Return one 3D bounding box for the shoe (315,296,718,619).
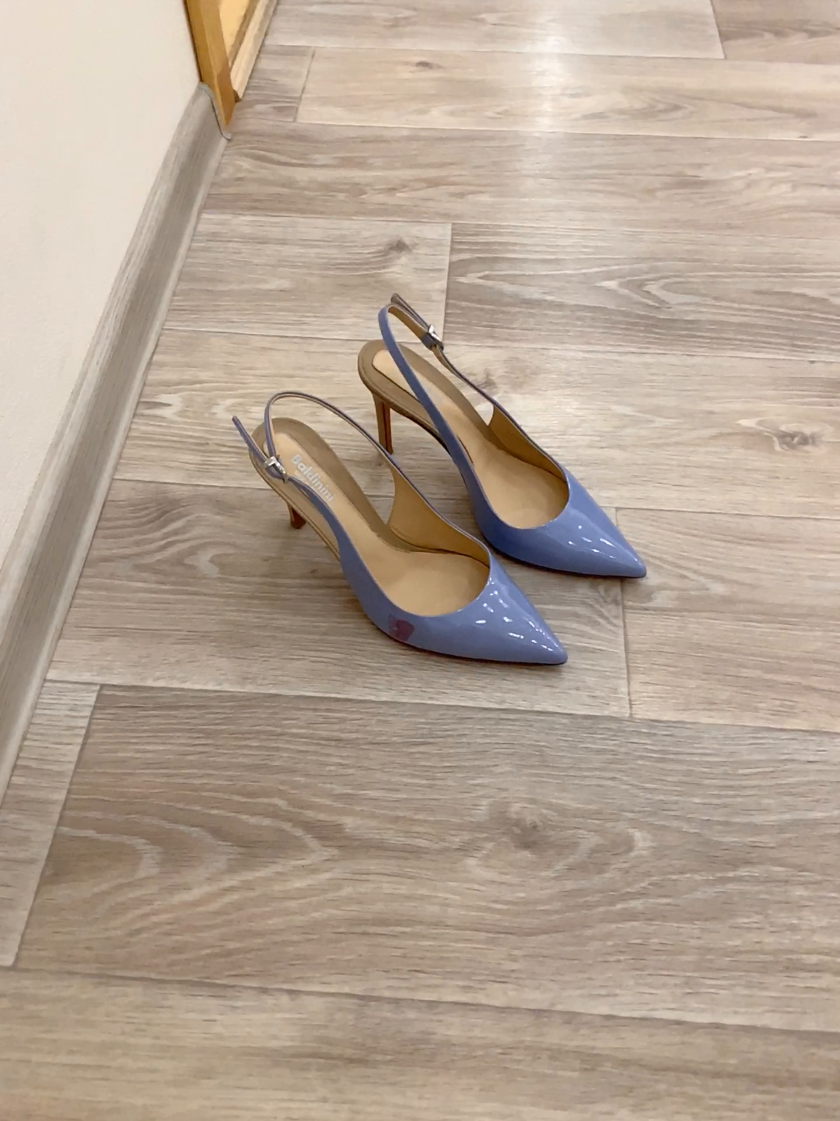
[{"bbox_3d":[0.056,-0.070,0.566,0.230,0.100,0.090,26,59,17],"label":"shoe"}]

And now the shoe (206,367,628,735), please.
[{"bbox_3d":[-0.006,-0.010,0.528,0.230,0.100,0.089,30,61,19],"label":"shoe"}]
